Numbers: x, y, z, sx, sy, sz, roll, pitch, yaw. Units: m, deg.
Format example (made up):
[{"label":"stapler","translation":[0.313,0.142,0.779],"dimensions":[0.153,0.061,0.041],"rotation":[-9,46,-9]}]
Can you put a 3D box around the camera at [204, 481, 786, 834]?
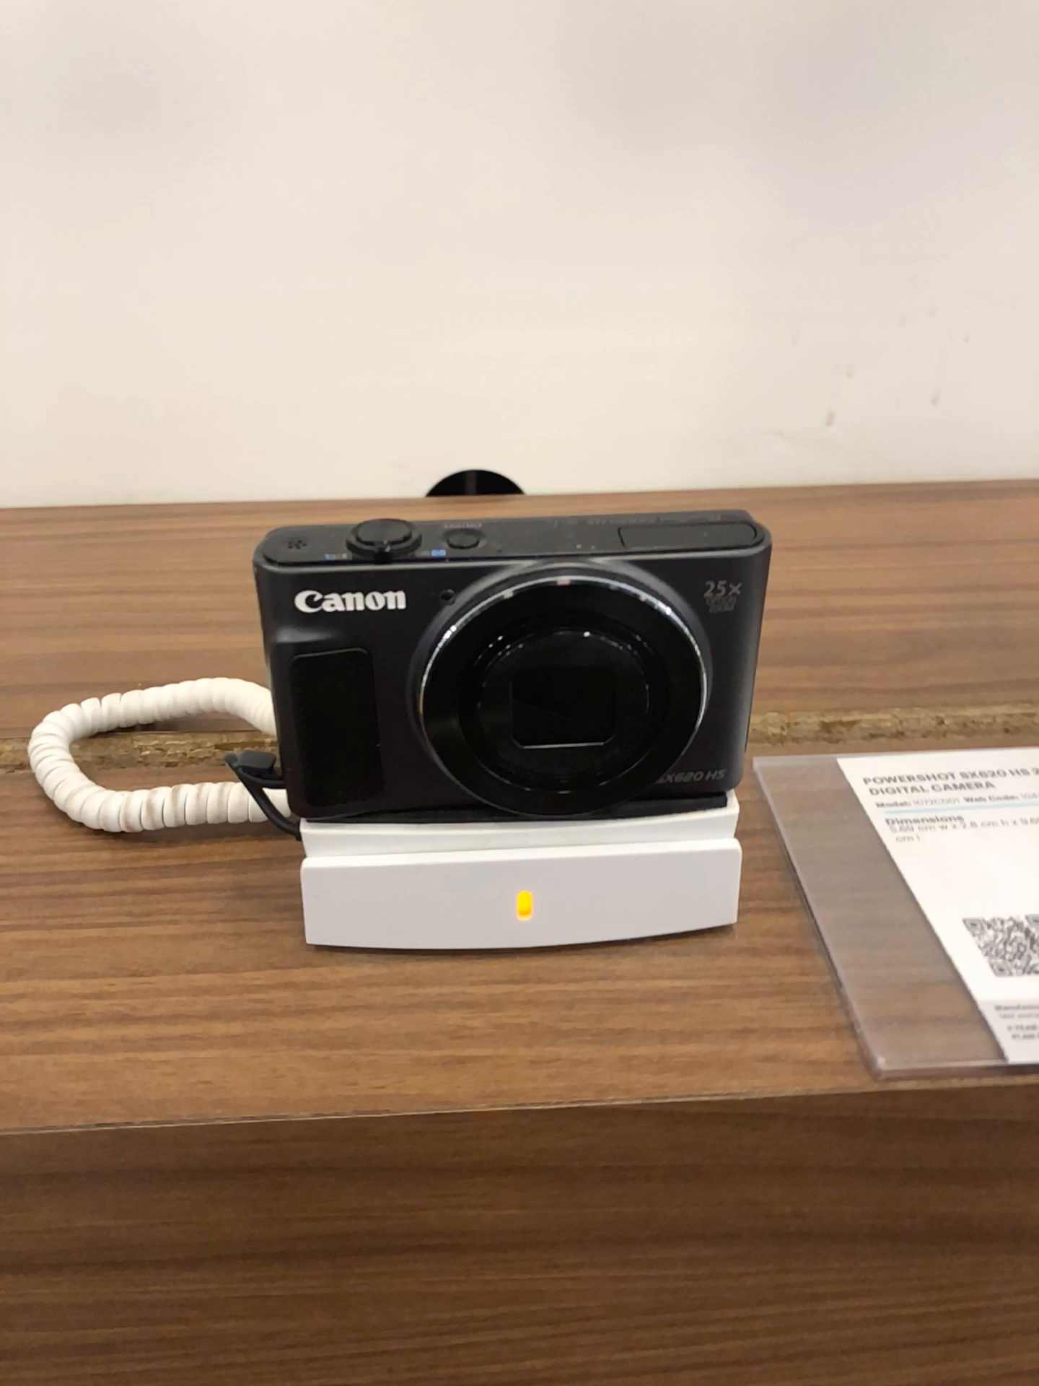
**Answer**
[{"label":"camera","translation":[-0.004,-0.007,0.227],"dimensions":[0.100,0.060,0.030],"rotation":[-1,29,-2]}]
